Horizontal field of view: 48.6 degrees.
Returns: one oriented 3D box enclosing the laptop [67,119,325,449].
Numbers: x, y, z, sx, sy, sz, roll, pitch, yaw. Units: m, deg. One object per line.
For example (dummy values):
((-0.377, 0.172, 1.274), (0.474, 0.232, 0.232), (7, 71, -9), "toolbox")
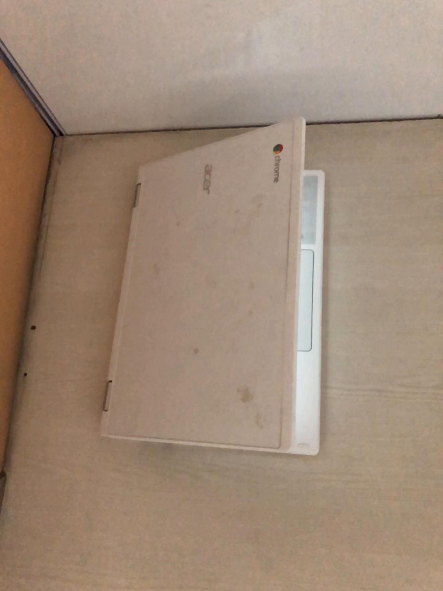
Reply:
((-0.009, -0.013, 0.464), (0.200, 0.092, 0.283), (2, 73, 10), "laptop")
